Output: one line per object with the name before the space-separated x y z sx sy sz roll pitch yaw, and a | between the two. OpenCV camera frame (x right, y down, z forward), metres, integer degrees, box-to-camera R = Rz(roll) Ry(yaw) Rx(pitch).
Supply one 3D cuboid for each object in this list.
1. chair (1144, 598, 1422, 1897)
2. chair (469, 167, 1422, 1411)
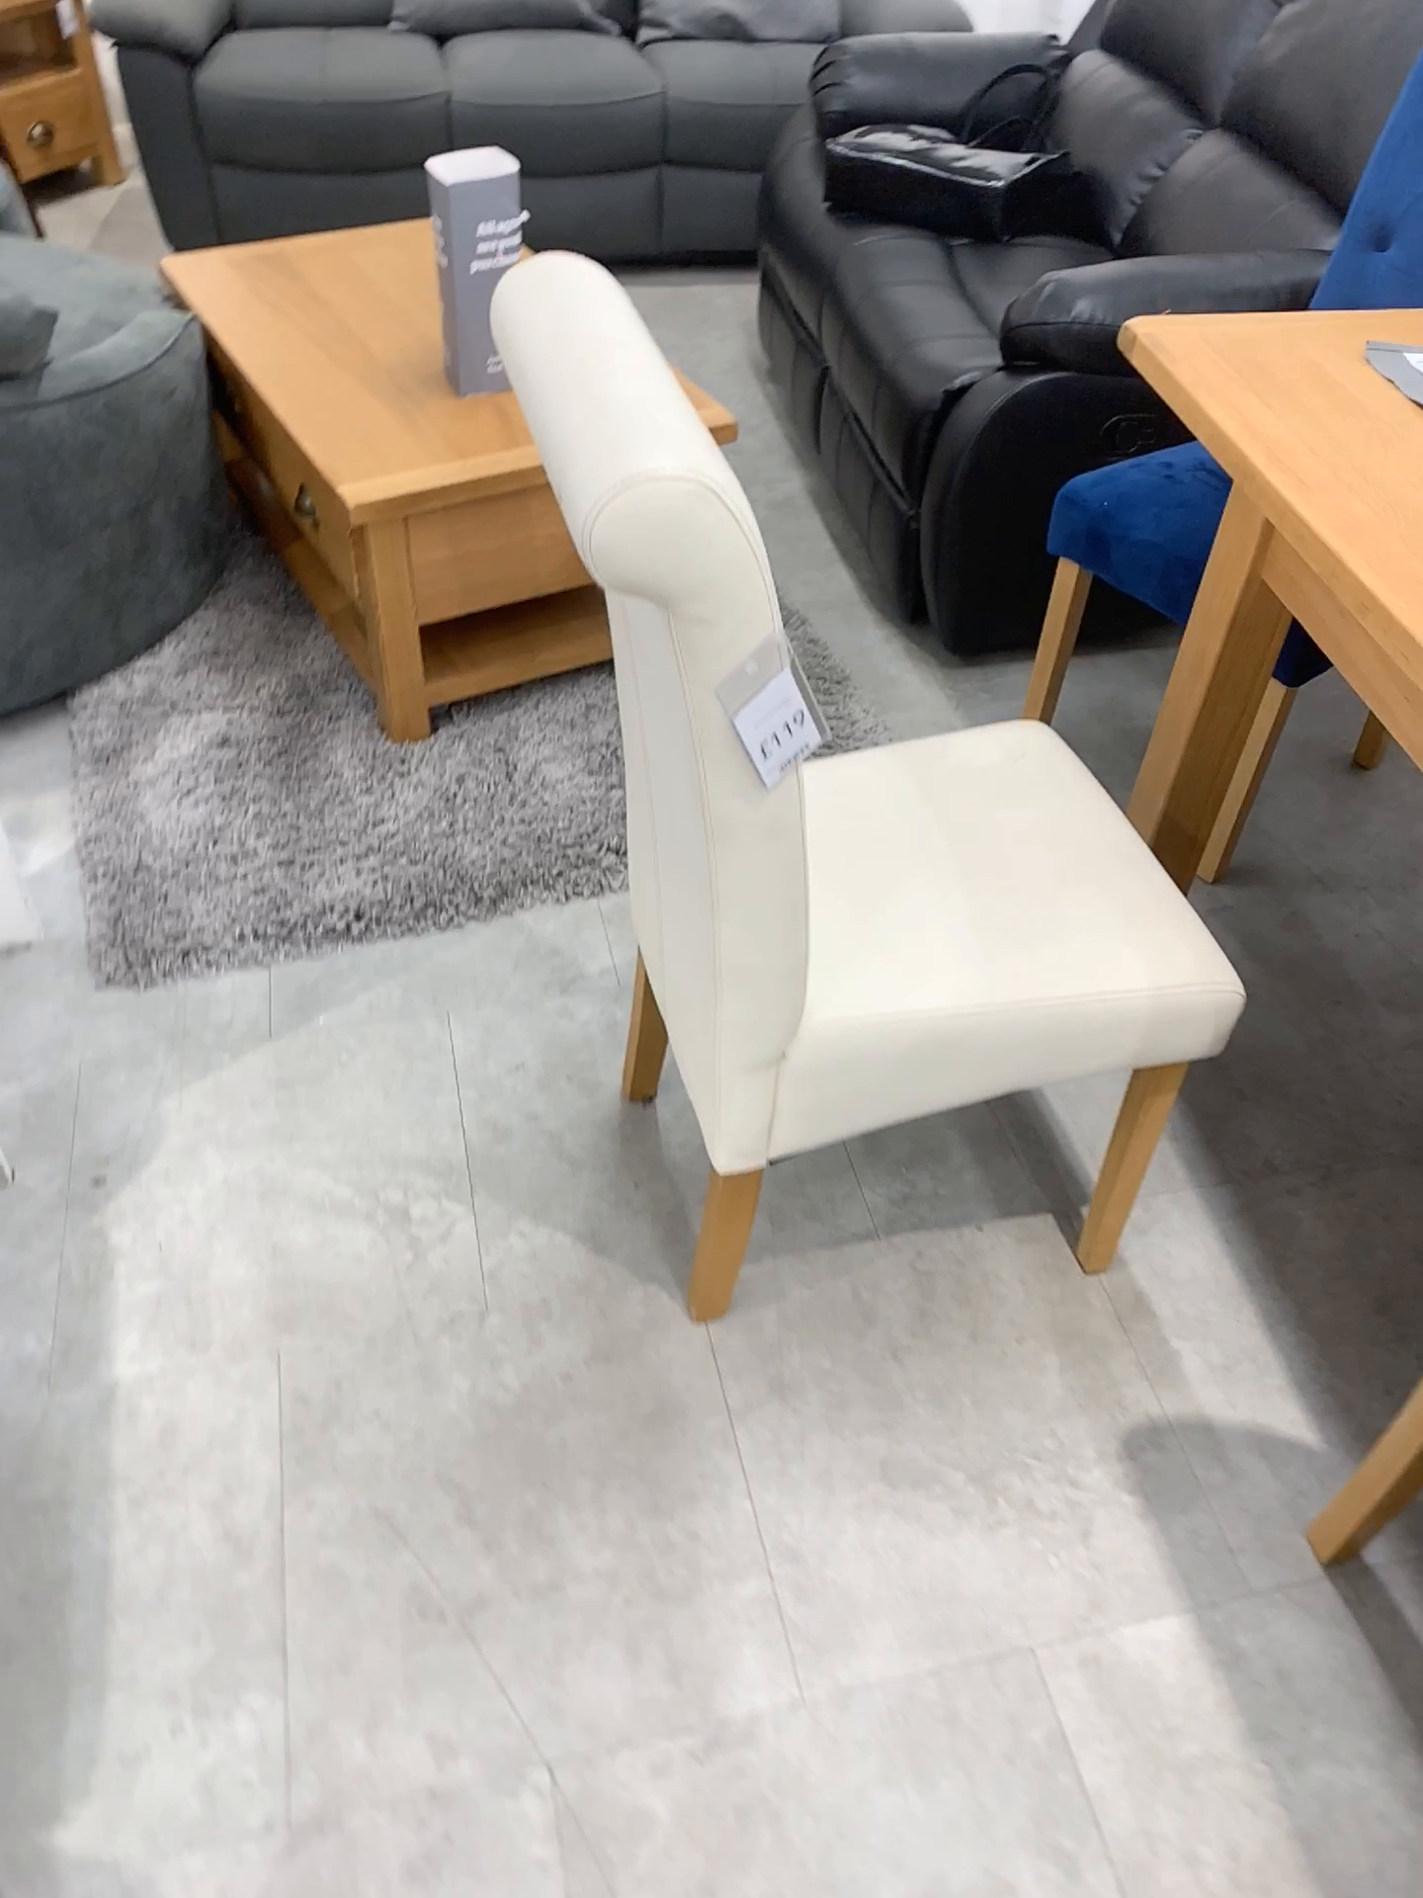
chair | 0.781 0.307 0.998 0.581 0.905 0.488 -7 45 -10
chair | 0.148 -0.110 1.322 0.592 0.935 0.518 -9 46 -13
